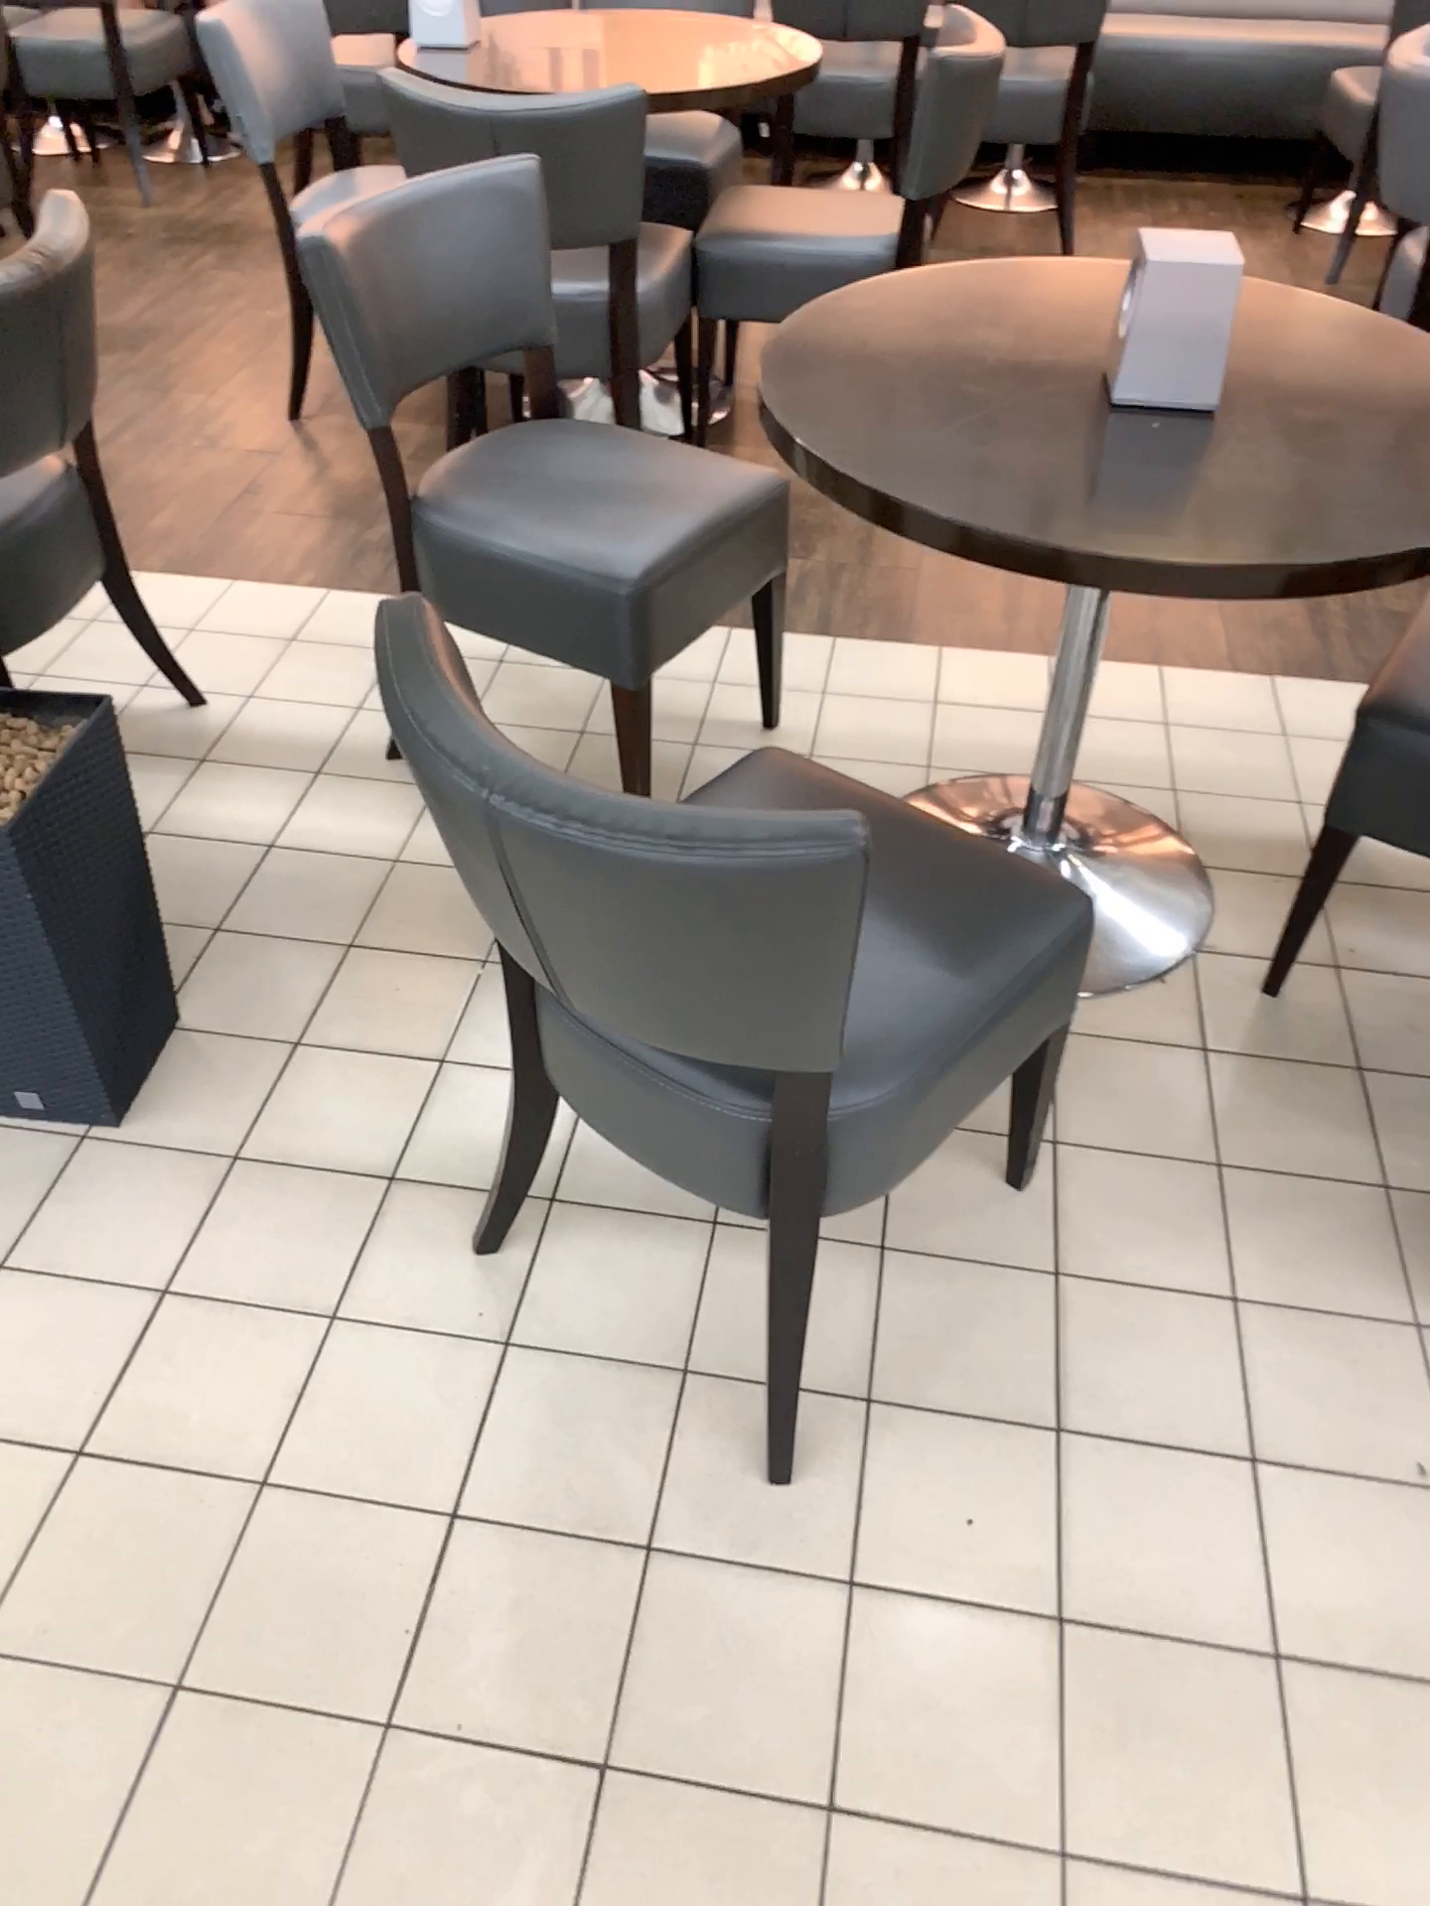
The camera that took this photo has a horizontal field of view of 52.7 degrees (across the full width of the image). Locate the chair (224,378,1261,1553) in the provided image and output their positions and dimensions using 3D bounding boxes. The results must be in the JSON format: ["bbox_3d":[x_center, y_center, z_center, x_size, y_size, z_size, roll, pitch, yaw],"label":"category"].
[{"bbox_3d":[0.035,-0.011,1.425,0.551,0.796,0.642,31,49,30],"label":"chair"}]
